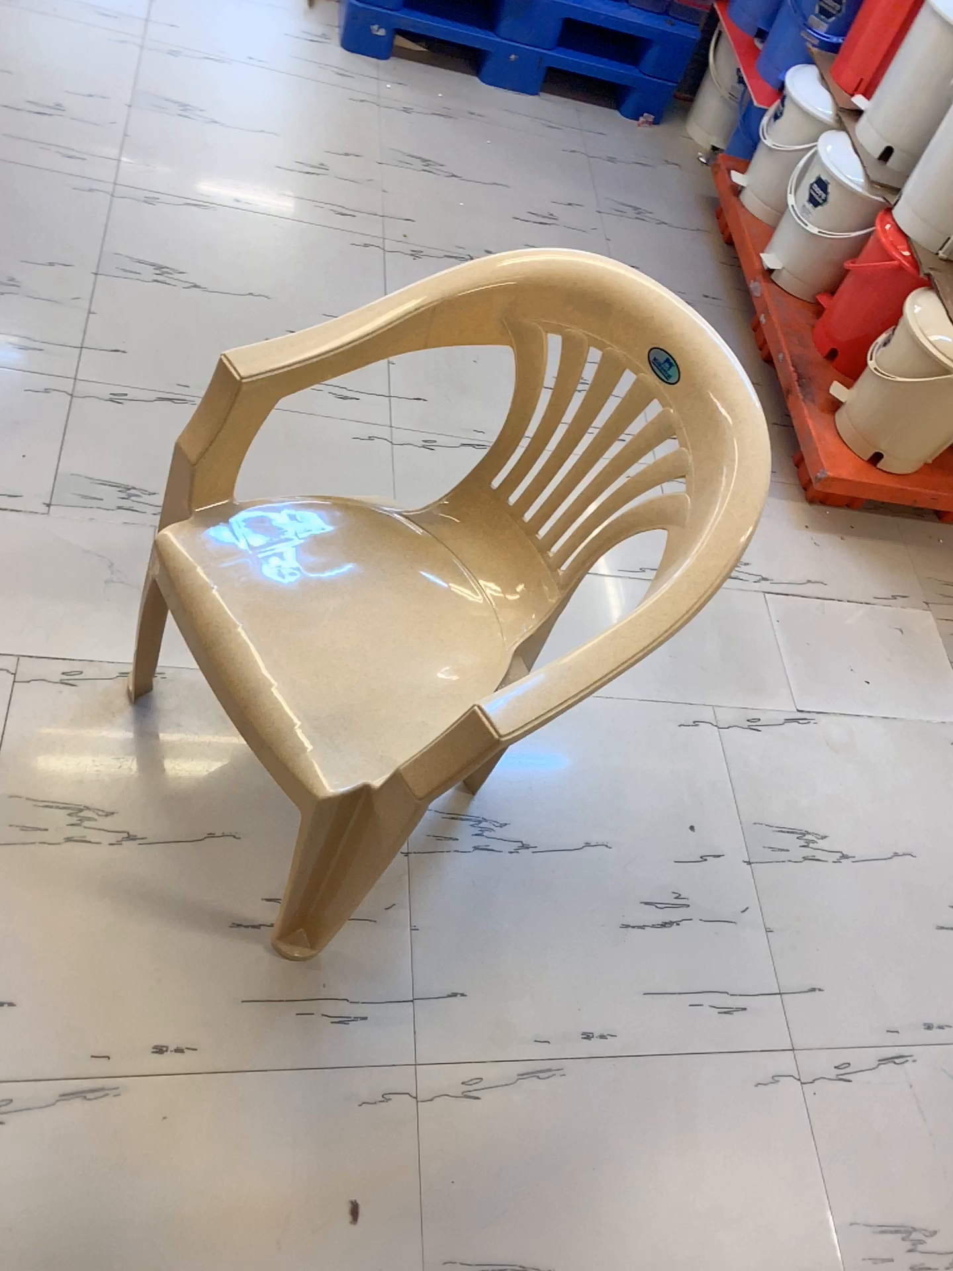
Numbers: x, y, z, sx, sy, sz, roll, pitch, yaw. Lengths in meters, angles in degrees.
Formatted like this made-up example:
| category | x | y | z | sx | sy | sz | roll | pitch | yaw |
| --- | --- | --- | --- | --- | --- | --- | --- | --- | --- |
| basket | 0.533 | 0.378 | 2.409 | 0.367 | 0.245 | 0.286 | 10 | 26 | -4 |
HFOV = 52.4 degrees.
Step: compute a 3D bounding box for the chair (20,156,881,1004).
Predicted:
| category | x | y | z | sx | sy | sz | roll | pitch | yaw |
| --- | --- | --- | --- | --- | --- | --- | --- | --- | --- |
| chair | -0.099 | -0.049 | 1.212 | 0.632 | 0.745 | 0.571 | -24 | 68 | -31 |
